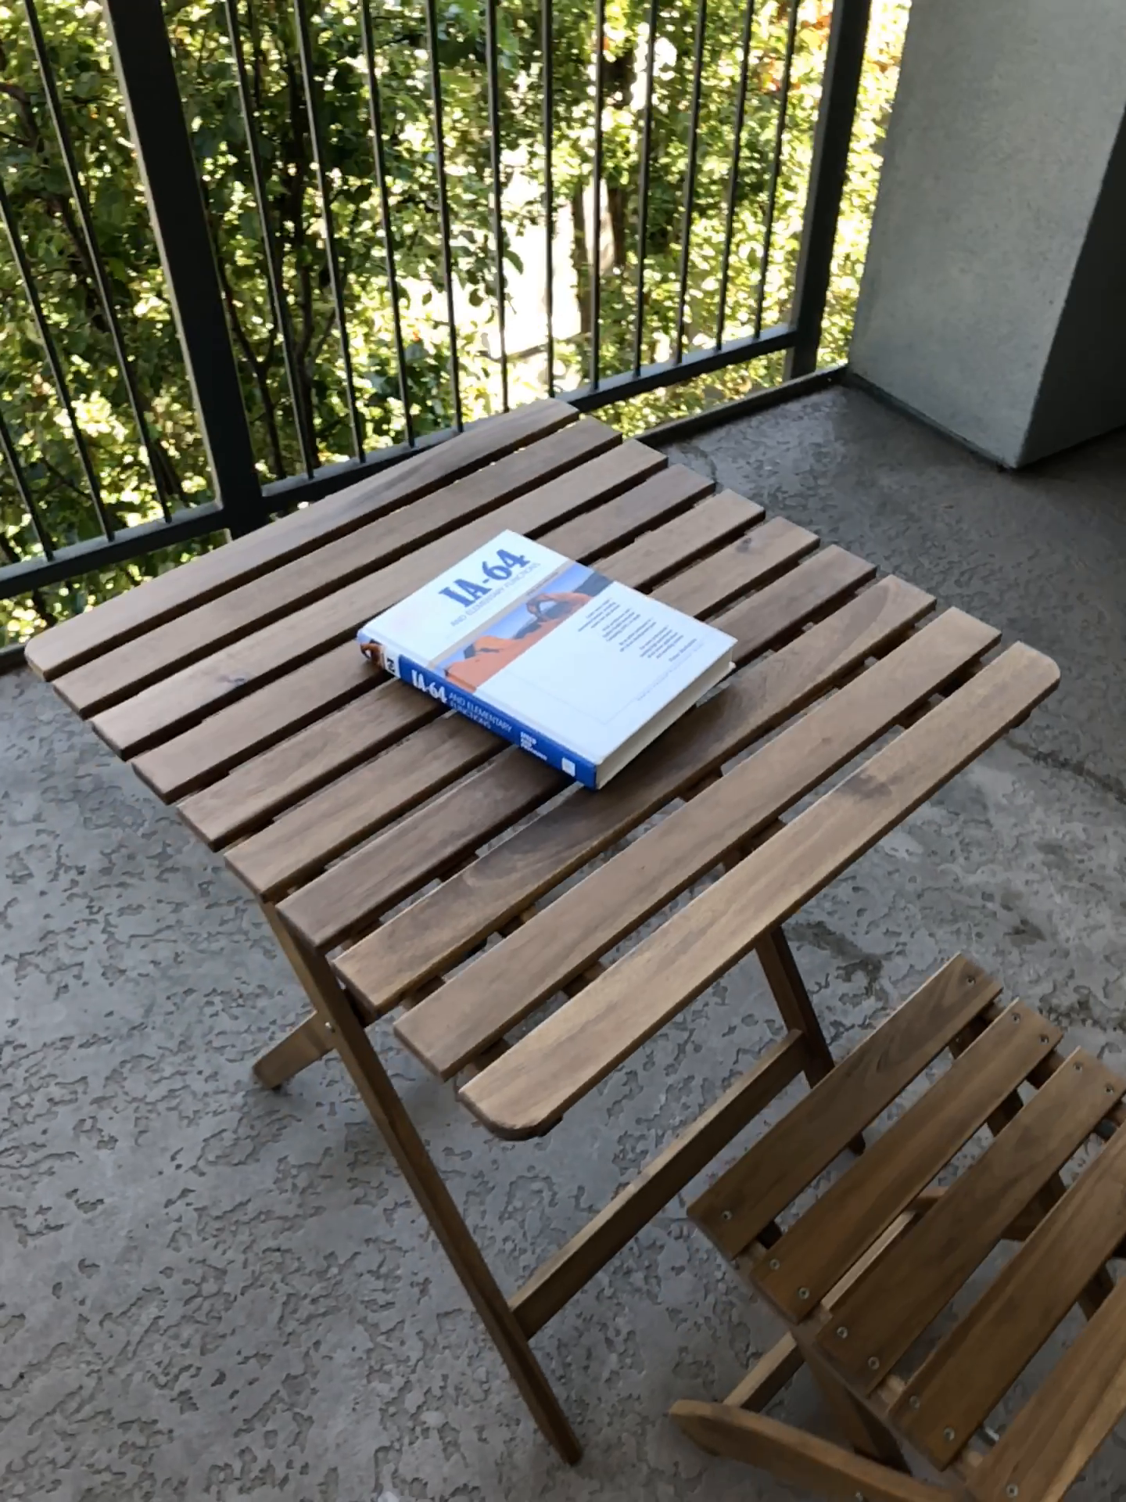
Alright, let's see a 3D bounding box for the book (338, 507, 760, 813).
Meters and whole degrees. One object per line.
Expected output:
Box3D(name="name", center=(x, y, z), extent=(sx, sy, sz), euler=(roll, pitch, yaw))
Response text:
Box3D(name="book", center=(-0.011, -0.082, 0.960), extent=(0.250, 0.040, 0.200), euler=(31, 52, 27))
